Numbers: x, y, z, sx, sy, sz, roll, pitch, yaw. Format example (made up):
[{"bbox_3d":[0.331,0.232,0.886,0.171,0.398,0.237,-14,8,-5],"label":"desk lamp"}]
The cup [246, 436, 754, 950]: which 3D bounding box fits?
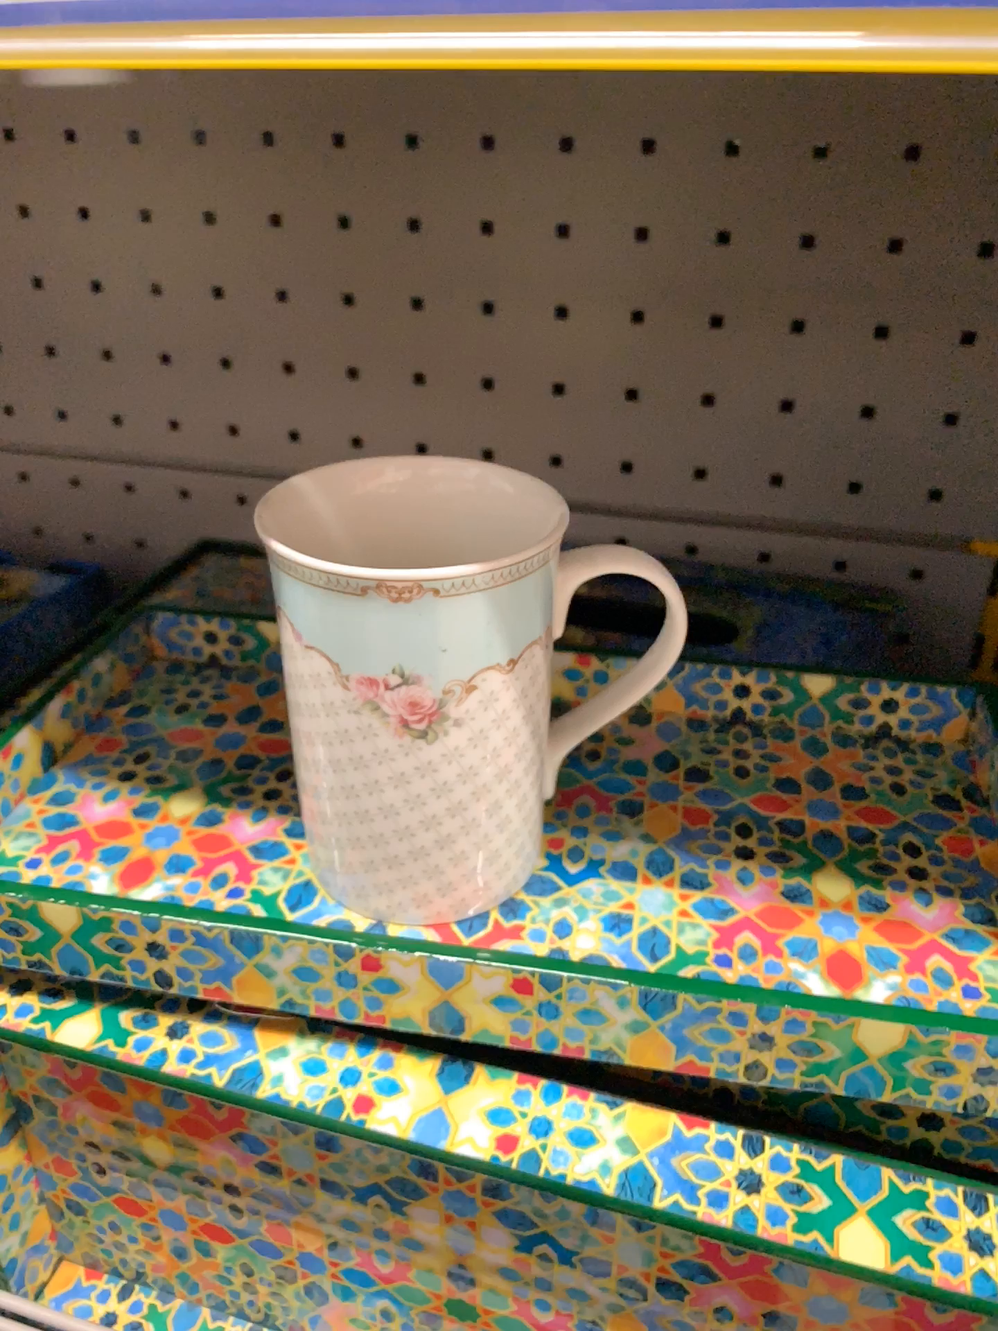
[{"bbox_3d":[-0.005,0.002,0.281,0.110,0.100,0.080,-7,30,-11],"label":"cup"}]
